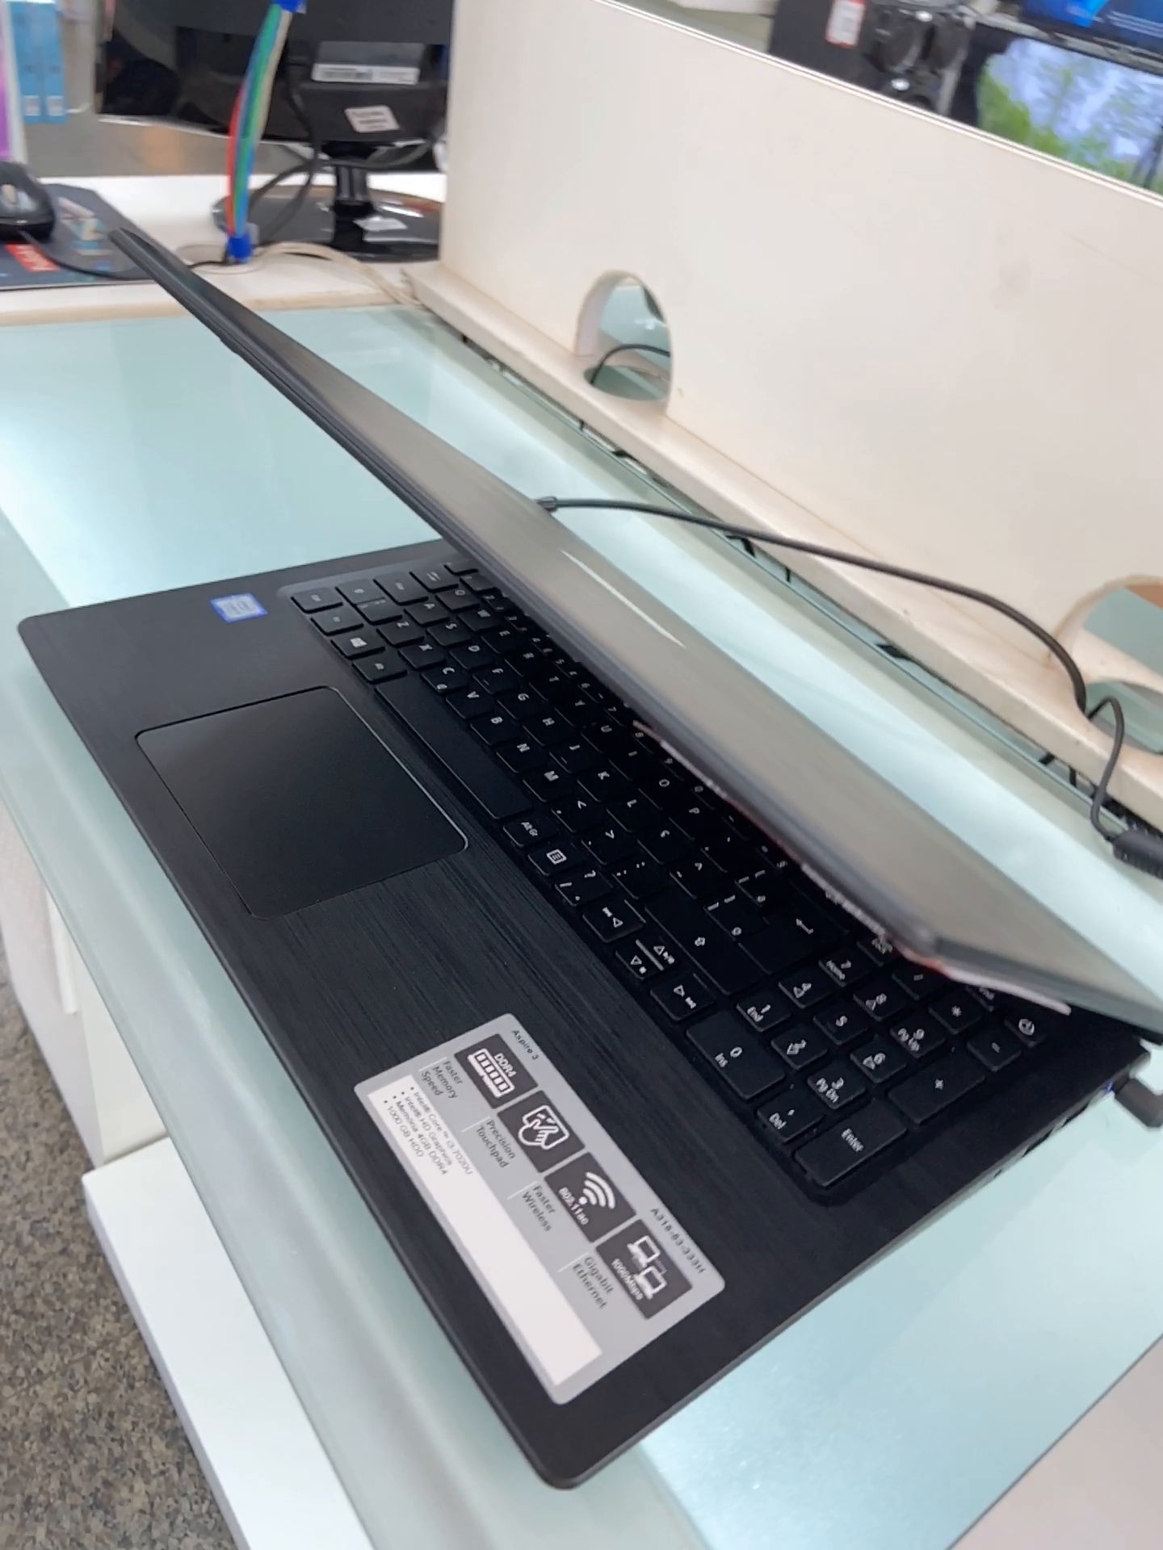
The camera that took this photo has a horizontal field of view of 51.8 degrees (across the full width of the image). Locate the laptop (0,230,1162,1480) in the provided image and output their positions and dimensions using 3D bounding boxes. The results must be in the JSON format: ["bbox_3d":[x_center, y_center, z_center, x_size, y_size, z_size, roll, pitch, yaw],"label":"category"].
[{"bbox_3d":[-0.011,-0.041,0.381,0.233,0.142,0.368,-19,46,-33],"label":"laptop"}]
